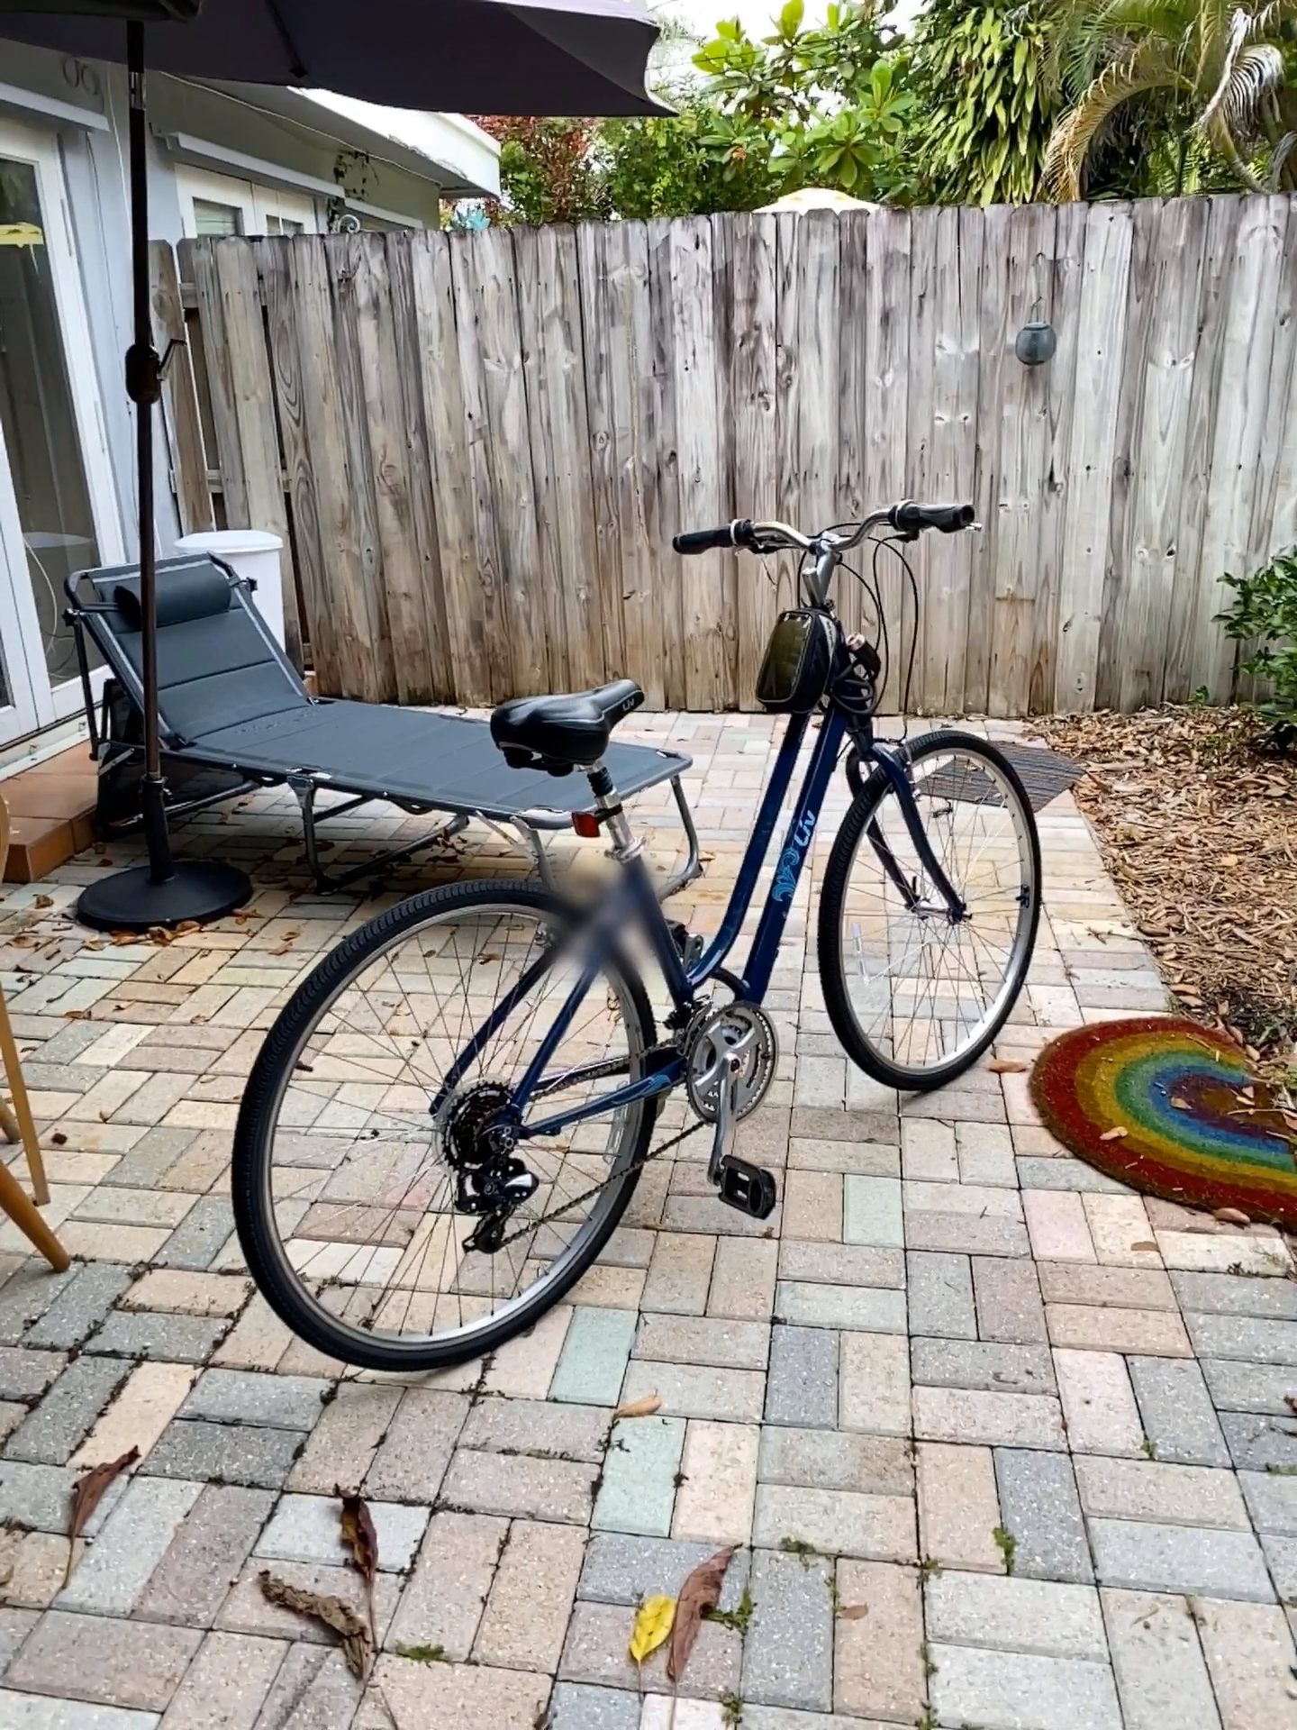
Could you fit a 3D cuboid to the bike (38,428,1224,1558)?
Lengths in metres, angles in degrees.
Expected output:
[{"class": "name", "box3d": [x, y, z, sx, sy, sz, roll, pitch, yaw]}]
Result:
[{"class": "bike", "box3d": [0.132, -0.025, 2.055, 1.693, 1.067, 0.596, -22, 28, -38]}]
